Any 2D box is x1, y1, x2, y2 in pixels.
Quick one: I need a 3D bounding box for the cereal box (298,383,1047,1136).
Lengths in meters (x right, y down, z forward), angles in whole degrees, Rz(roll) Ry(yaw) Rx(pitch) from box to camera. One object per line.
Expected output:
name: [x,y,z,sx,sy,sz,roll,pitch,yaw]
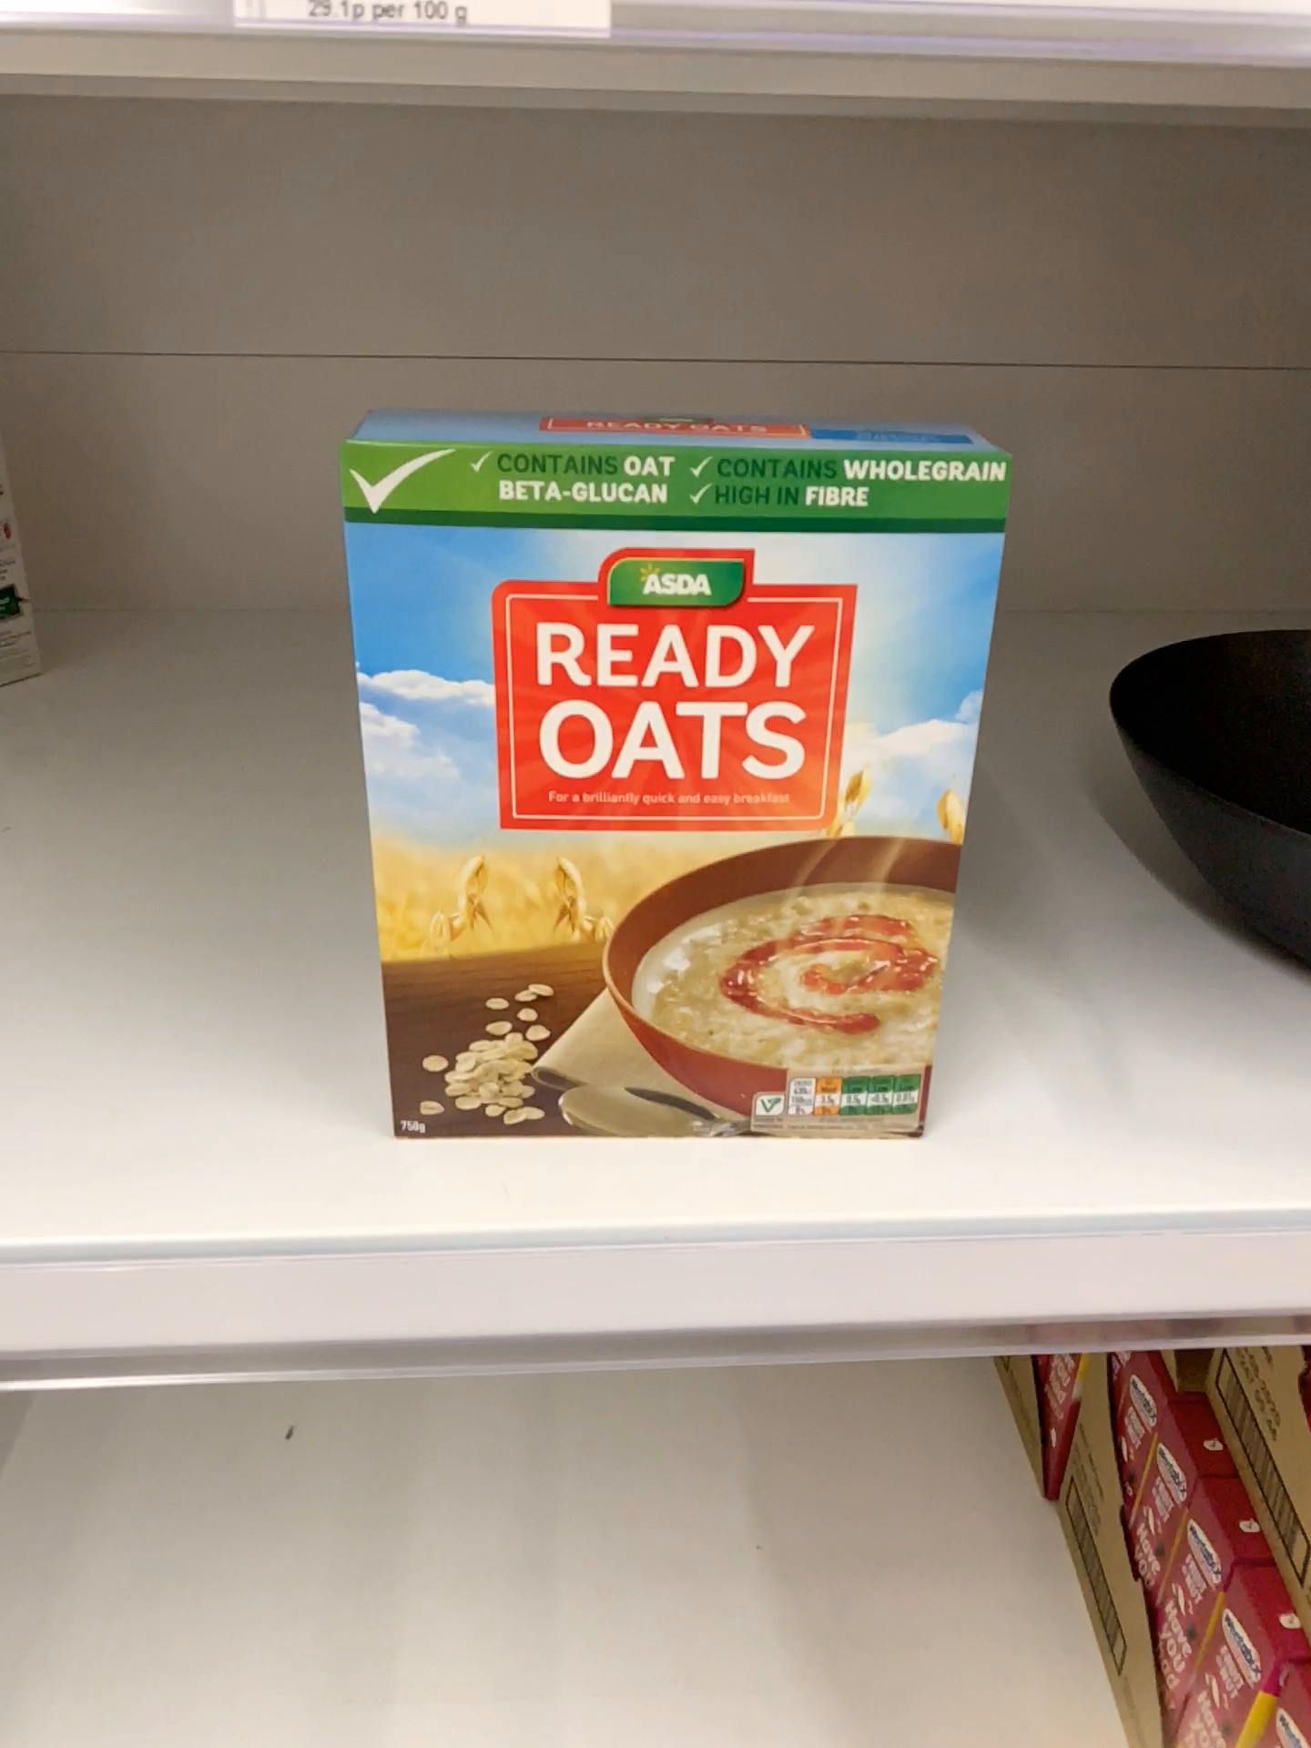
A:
cereal box: [0.002,-0.035,0.488,0.220,0.258,0.081,0,27,-2]
